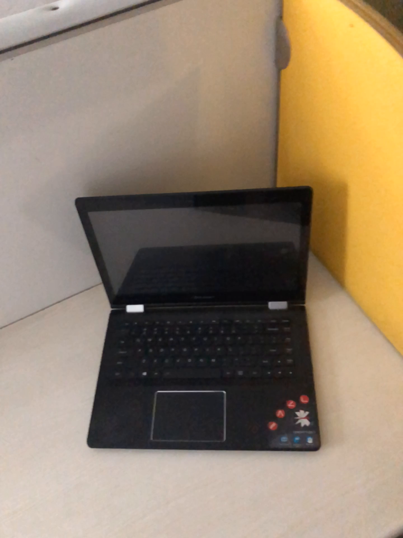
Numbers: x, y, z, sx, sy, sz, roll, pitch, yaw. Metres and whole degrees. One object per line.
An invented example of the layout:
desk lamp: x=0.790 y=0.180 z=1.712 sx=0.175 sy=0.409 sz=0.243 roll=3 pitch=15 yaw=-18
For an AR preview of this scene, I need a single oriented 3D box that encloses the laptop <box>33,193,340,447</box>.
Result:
laptop: x=-0.005 y=0.074 z=0.614 sx=0.311 sy=0.225 sz=0.265 roll=-2 pitch=54 yaw=7
